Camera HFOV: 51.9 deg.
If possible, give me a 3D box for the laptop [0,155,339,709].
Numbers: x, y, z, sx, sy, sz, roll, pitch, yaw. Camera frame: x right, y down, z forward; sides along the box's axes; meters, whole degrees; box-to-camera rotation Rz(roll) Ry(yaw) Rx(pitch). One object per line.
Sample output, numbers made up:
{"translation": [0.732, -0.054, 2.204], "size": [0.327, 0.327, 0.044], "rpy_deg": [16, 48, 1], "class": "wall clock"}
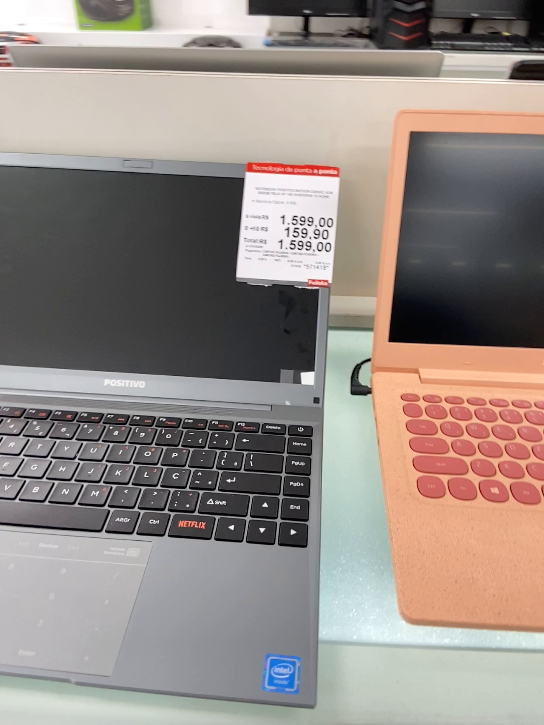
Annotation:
{"translation": [-0.126, -0.009, 0.388], "size": [0.333, 0.144, 0.368], "rpy_deg": [4, 37, 4], "class": "laptop"}
